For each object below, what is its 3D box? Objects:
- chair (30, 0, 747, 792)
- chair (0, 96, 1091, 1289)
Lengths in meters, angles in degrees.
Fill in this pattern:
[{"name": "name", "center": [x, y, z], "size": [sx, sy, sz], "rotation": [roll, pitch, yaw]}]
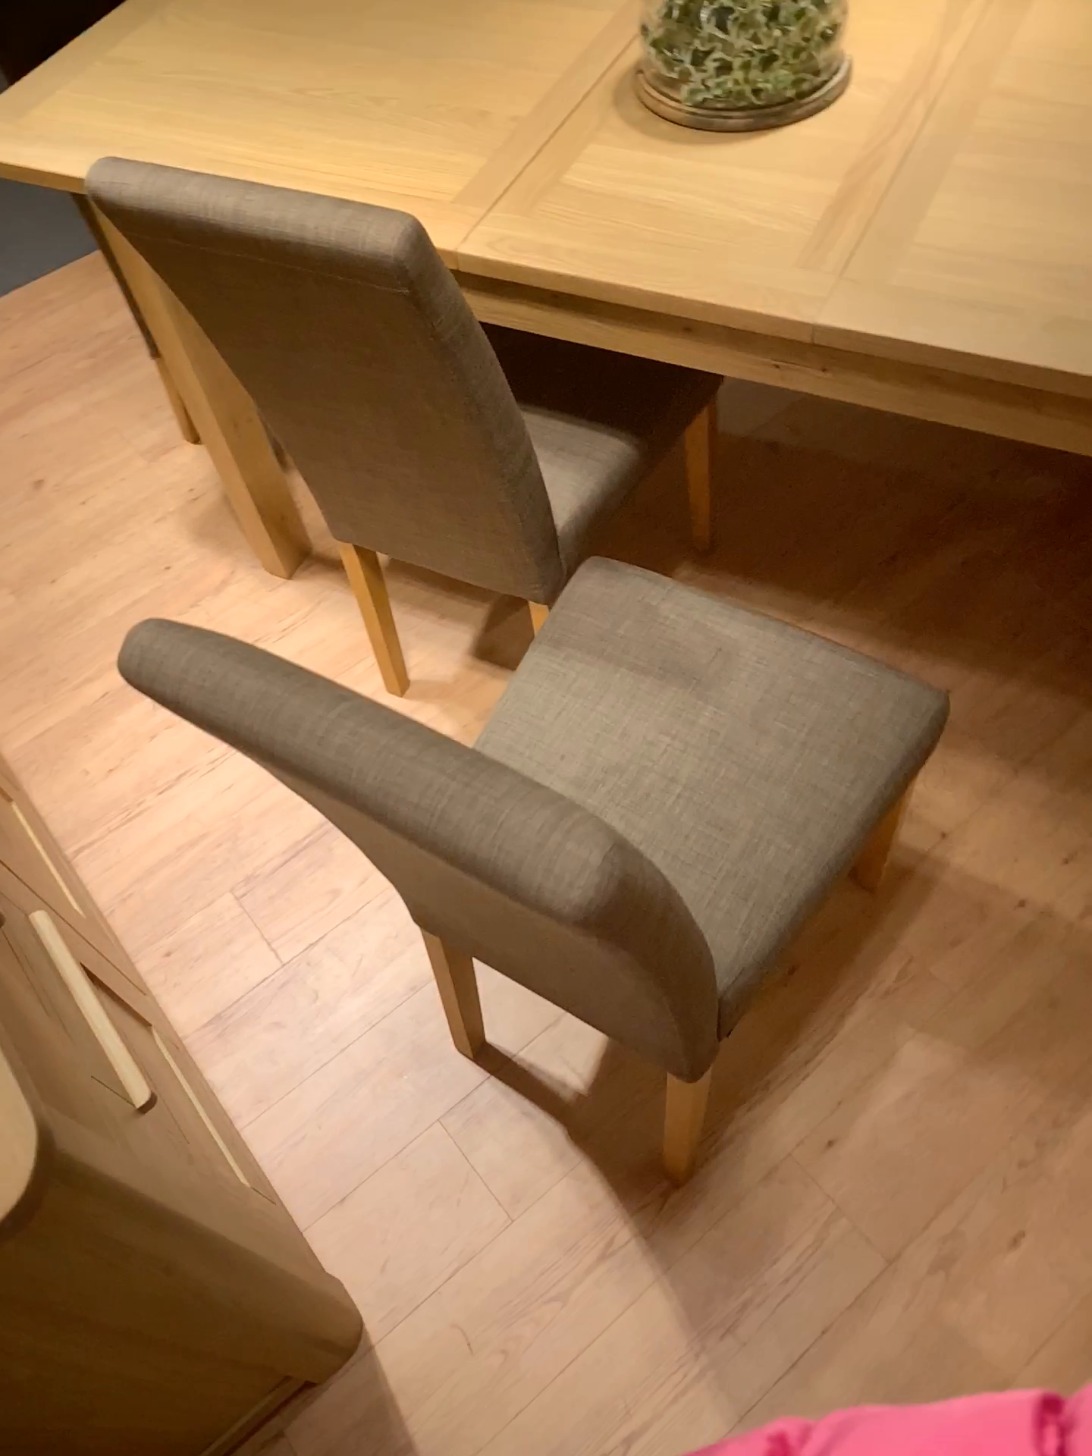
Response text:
[{"name": "chair", "center": [-0.098, -0.405, 1.361], "size": [0.498, 0.766, 0.506], "rotation": [20, 60, 20]}, {"name": "chair", "center": [0.075, 0.035, 1.066], "size": [0.508, 0.885, 0.606], "rotation": [25, 62, 22]}]
